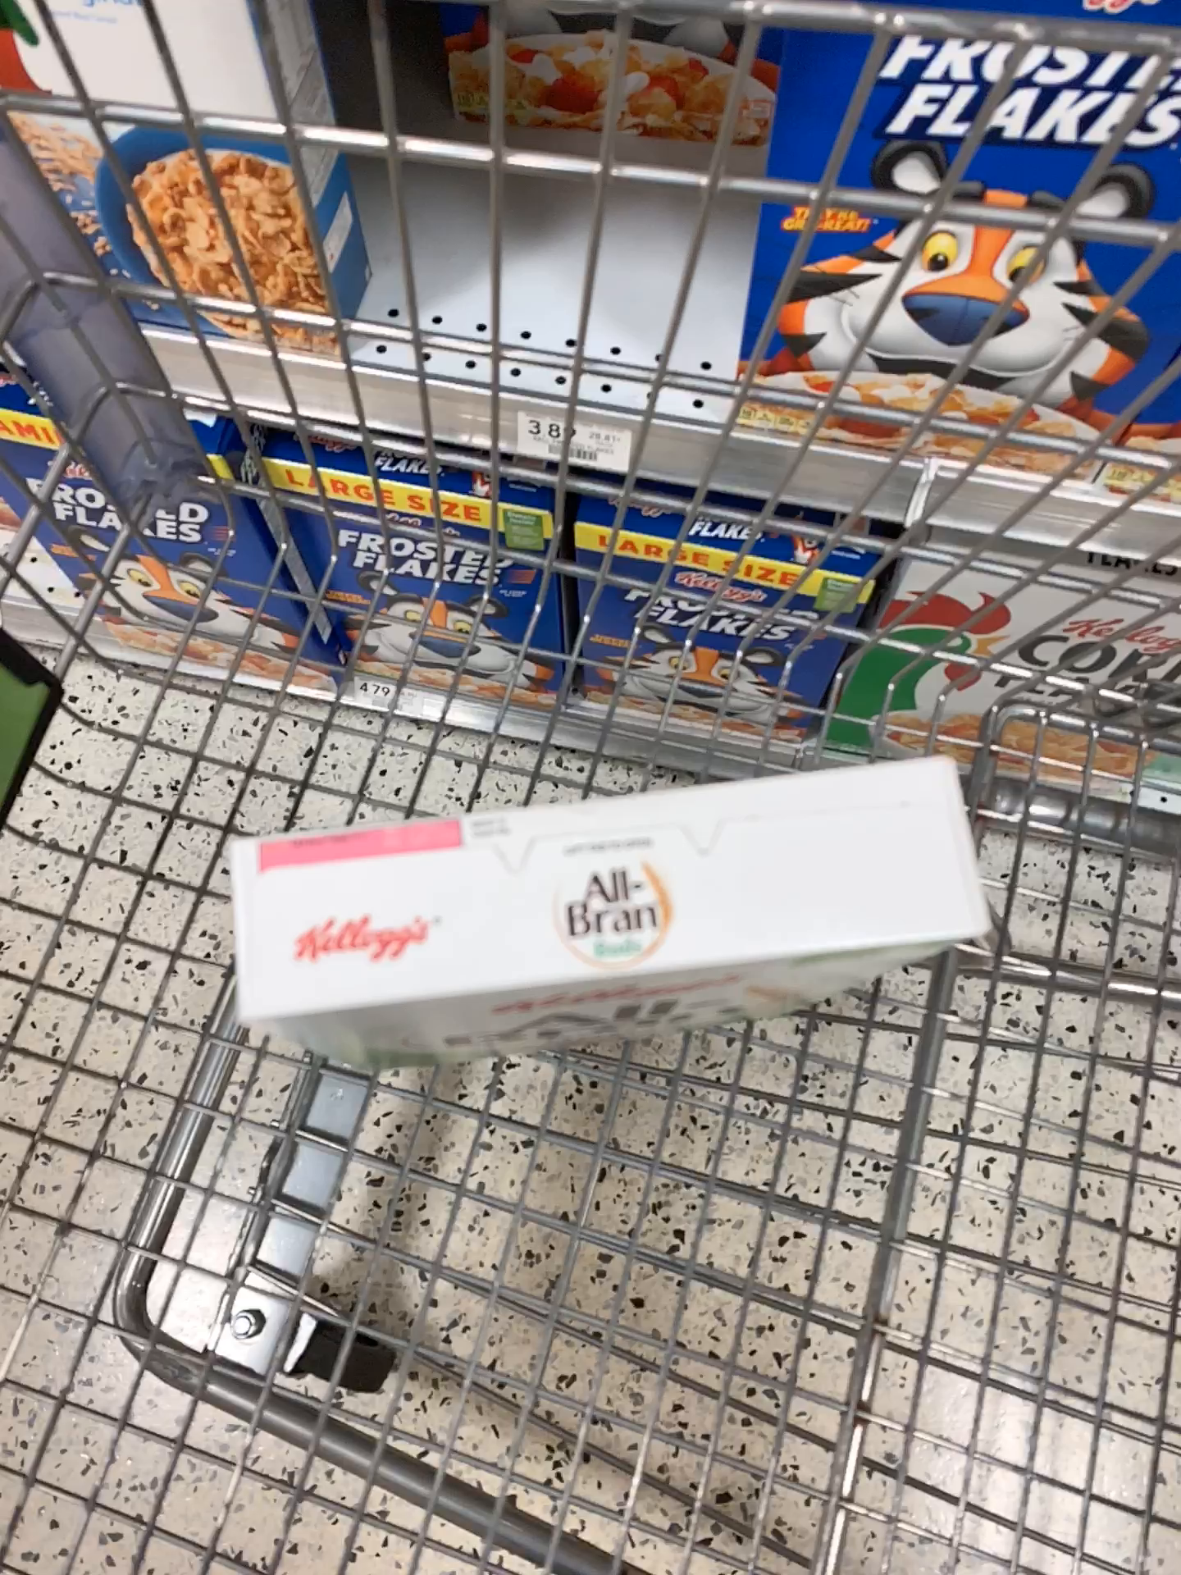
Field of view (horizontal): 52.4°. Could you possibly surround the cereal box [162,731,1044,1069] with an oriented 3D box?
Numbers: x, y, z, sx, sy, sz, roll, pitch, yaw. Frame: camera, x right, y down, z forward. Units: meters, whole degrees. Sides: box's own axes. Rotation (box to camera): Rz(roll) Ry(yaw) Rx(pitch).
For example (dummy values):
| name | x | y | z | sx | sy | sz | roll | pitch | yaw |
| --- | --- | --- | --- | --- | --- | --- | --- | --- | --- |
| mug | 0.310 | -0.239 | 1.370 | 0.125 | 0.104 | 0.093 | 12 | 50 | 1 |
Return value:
| name | x | y | z | sx | sy | sz | roll | pitch | yaw |
| --- | --- | --- | --- | --- | --- | --- | --- | --- | --- |
| cereal box | -0.001 | 0.059 | 0.423 | 0.200 | 0.299 | 0.050 | -6 | 76 | -3 |
